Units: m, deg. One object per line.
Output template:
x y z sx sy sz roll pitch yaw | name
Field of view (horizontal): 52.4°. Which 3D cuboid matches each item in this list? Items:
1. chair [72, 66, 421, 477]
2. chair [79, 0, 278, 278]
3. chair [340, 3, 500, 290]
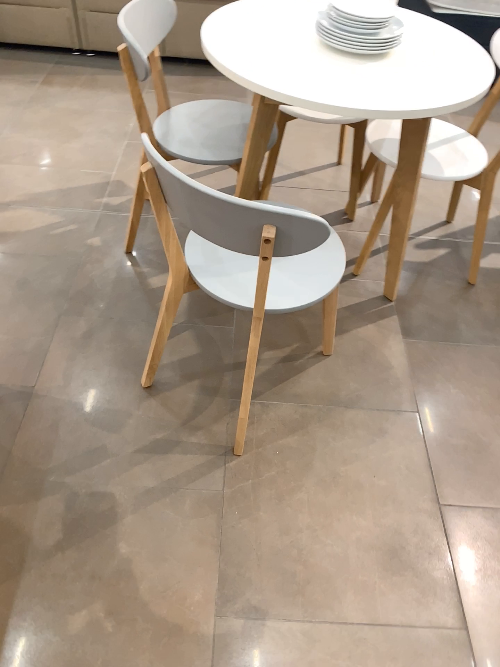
-0.016 -0.144 1.360 0.520 0.799 0.534 30 52 20 | chair
-0.214 -0.699 1.856 0.540 0.799 0.524 5 48 -2 | chair
0.698 -0.657 1.881 0.540 0.799 0.524 6 48 -1 | chair
